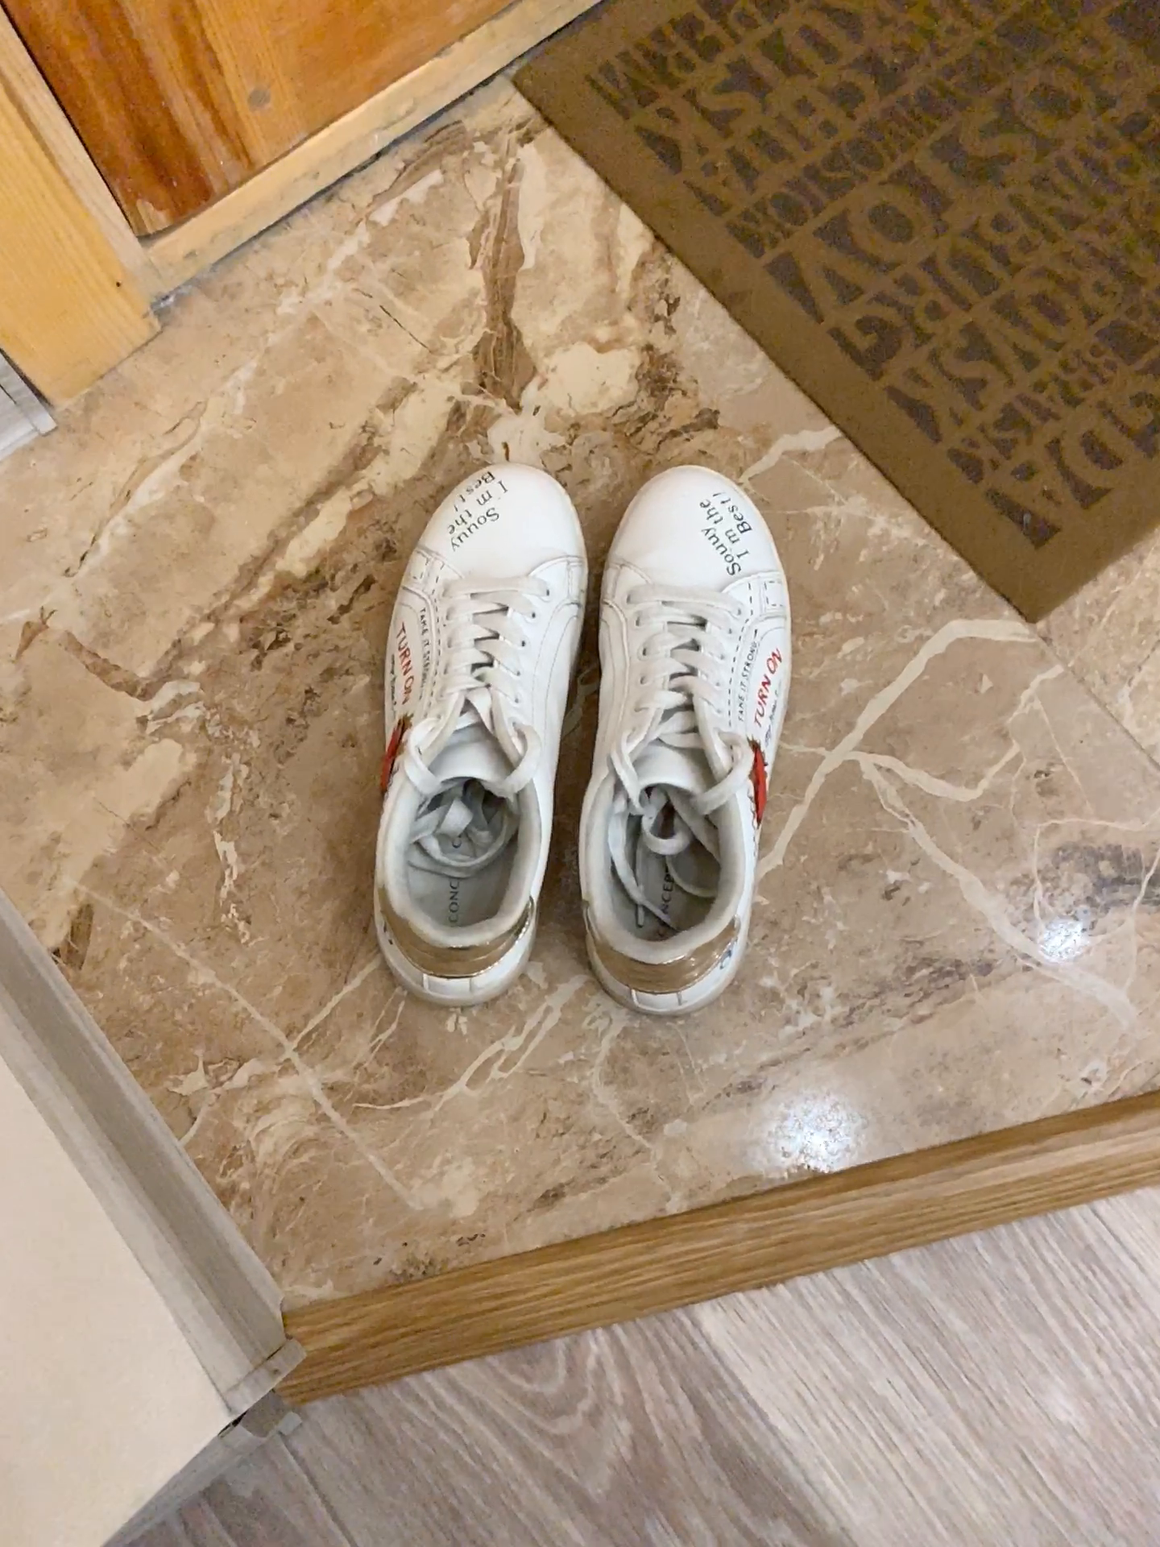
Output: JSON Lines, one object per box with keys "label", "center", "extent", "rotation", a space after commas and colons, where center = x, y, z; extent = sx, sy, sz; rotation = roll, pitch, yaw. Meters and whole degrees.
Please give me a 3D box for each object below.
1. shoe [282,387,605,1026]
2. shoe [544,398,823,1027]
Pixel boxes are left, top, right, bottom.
{"label": "shoe", "center": [-0.050, -0.027, 0.517], "extent": [0.092, 0.080, 0.256], "rotation": [7, 77, 3]}
{"label": "shoe", "center": [0.046, -0.025, 0.523], "extent": [0.092, 0.080, 0.256], "rotation": [5, 77, 3]}
